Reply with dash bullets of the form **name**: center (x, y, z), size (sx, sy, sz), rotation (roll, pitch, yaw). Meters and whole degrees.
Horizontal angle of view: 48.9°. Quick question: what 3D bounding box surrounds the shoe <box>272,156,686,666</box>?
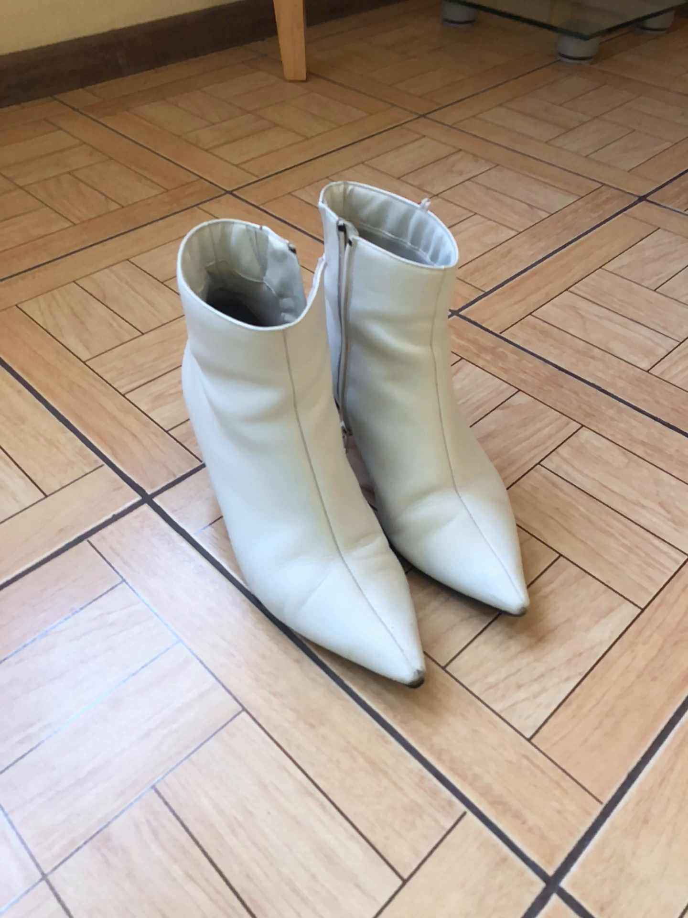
- **shoe**: center (0.049, -0.046, 0.458), size (0.100, 0.154, 0.275), rotation (-14, 46, -16)

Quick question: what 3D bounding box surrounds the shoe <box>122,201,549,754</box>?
- **shoe**: center (-0.023, -0.006, 0.415), size (0.100, 0.154, 0.254), rotation (-19, 48, -20)
